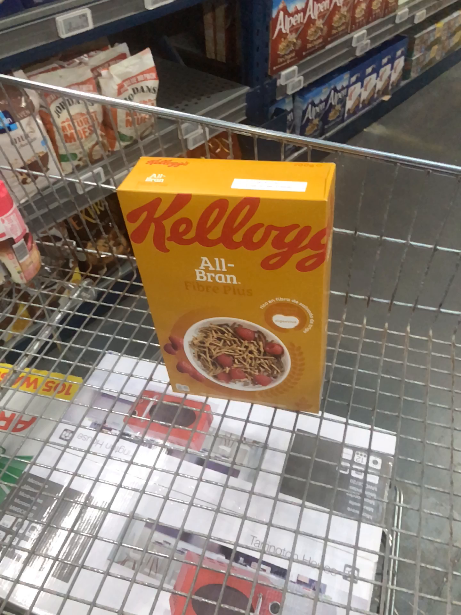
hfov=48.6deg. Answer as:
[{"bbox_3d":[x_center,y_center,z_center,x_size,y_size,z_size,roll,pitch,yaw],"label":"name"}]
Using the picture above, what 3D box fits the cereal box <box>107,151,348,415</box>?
[{"bbox_3d":[0.014,-0.013,0.543,0.200,0.289,0.070,6,45,15],"label":"cereal box"}]
